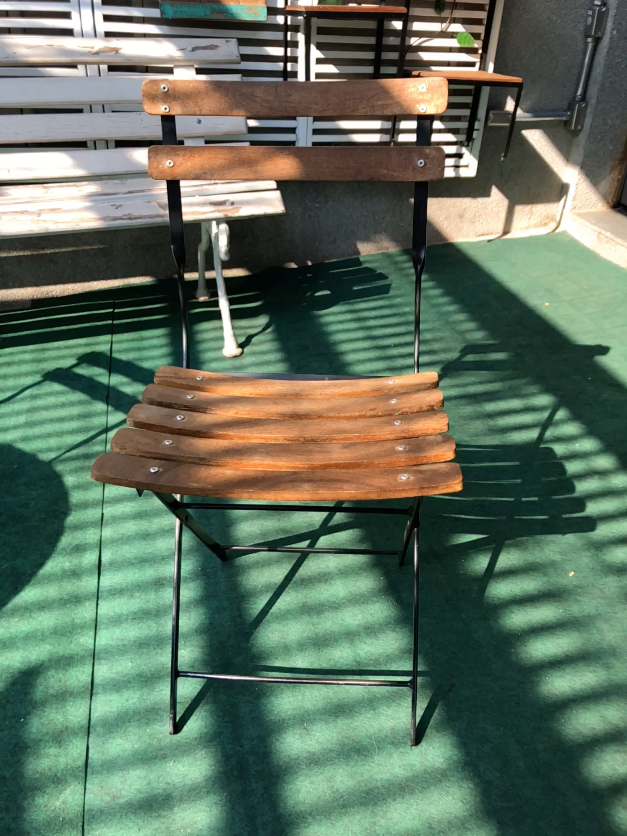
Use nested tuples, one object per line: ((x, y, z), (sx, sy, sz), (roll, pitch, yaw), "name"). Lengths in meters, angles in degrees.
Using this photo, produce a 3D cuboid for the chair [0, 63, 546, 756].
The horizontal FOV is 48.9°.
((-0.031, -0.018, 0.780), (0.390, 0.655, 0.403), (1, 31, 4), "chair")
